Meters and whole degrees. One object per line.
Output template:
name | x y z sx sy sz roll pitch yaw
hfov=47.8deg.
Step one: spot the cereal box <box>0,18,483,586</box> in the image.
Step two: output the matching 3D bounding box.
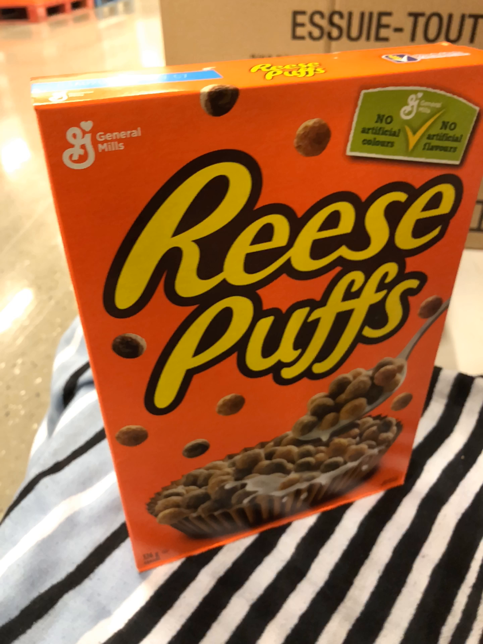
cereal box | 0.012 0.007 0.278 0.210 0.269 0.040 -13 36 -15
